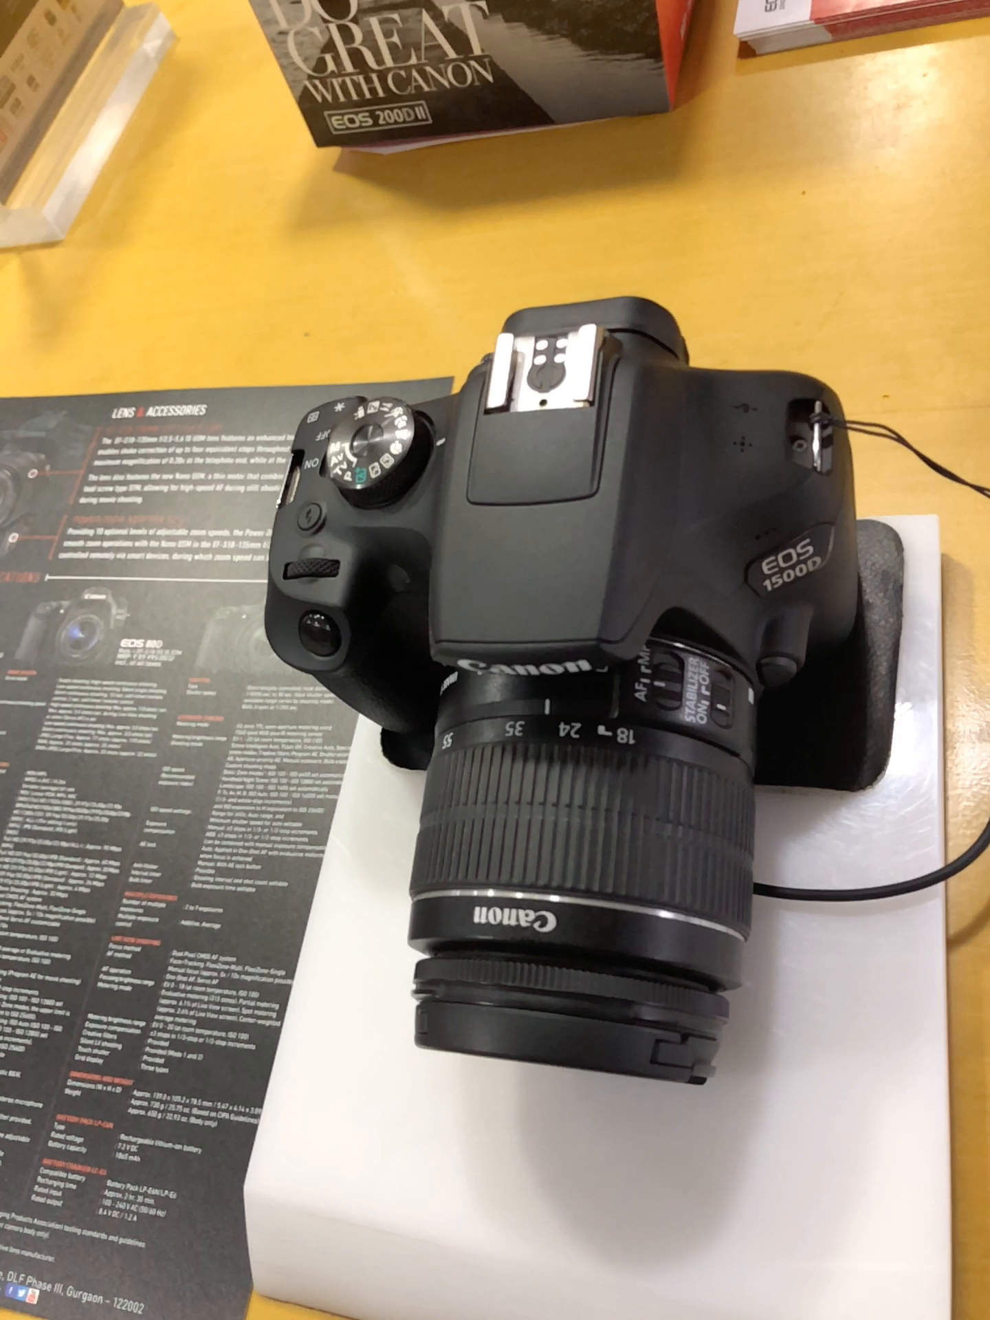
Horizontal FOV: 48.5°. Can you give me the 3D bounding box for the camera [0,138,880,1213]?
[{"bbox_3d":[-0.008,0.005,0.195,0.140,0.090,0.141,-1,61,21],"label":"camera"}]
